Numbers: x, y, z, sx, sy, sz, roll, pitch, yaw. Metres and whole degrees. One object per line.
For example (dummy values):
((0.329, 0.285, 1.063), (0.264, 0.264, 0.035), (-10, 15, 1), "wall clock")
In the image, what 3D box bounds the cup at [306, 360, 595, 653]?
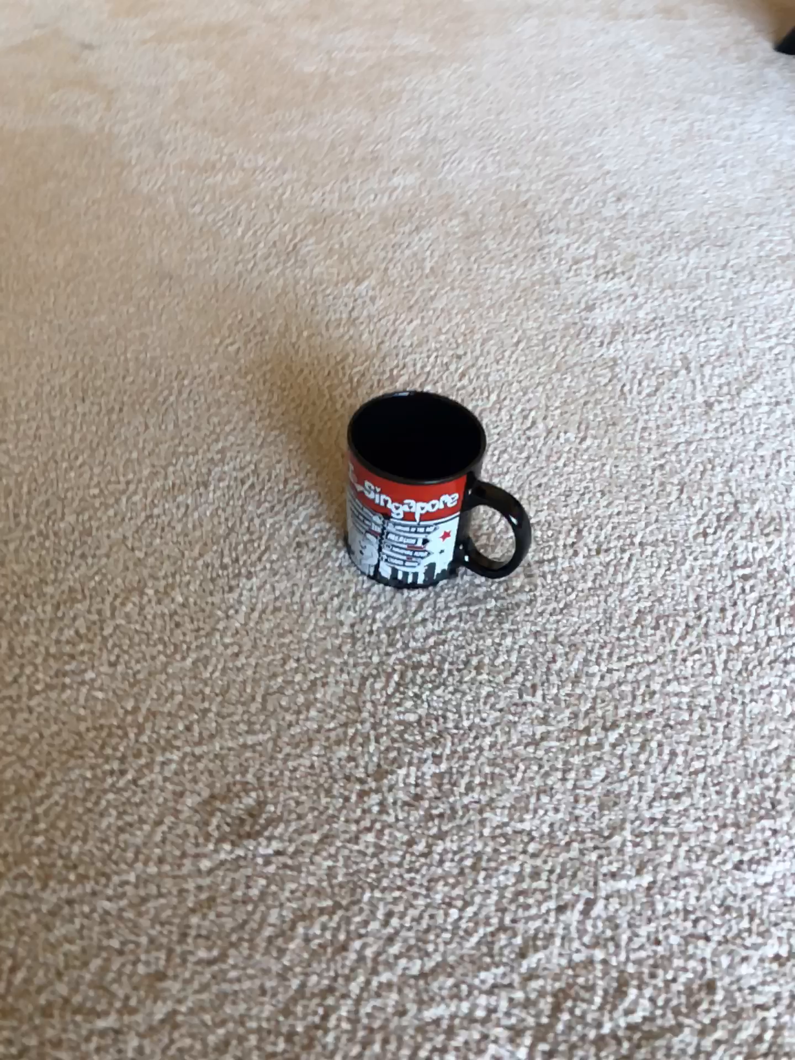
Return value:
((0.027, -0.017, 0.512), (0.130, 0.090, 0.090), (29, 51, 23), "cup")
